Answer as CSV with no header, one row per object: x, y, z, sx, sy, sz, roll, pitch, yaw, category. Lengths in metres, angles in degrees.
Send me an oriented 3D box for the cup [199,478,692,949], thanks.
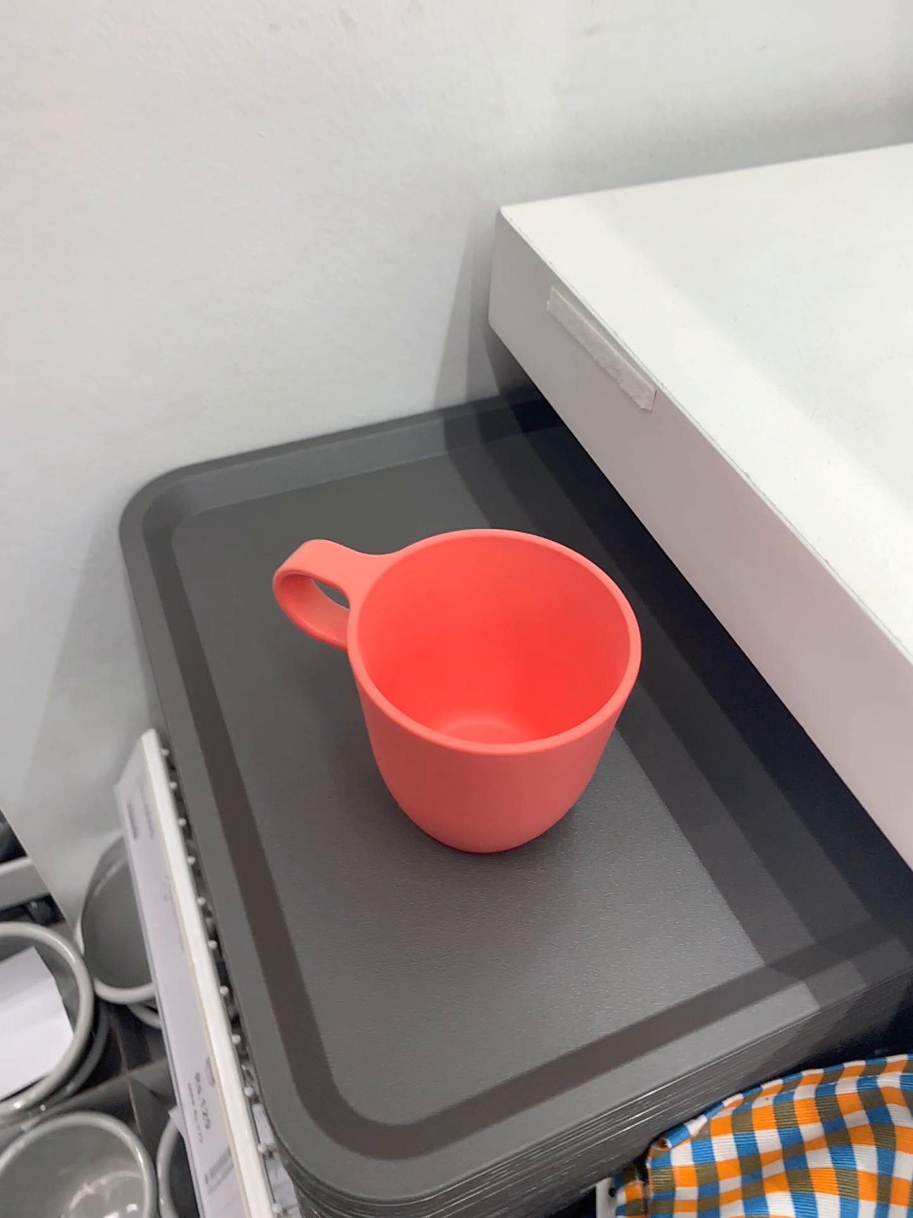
-0.003,0.029,0.276,0.110,0.080,0.070,20,49,14,cup
